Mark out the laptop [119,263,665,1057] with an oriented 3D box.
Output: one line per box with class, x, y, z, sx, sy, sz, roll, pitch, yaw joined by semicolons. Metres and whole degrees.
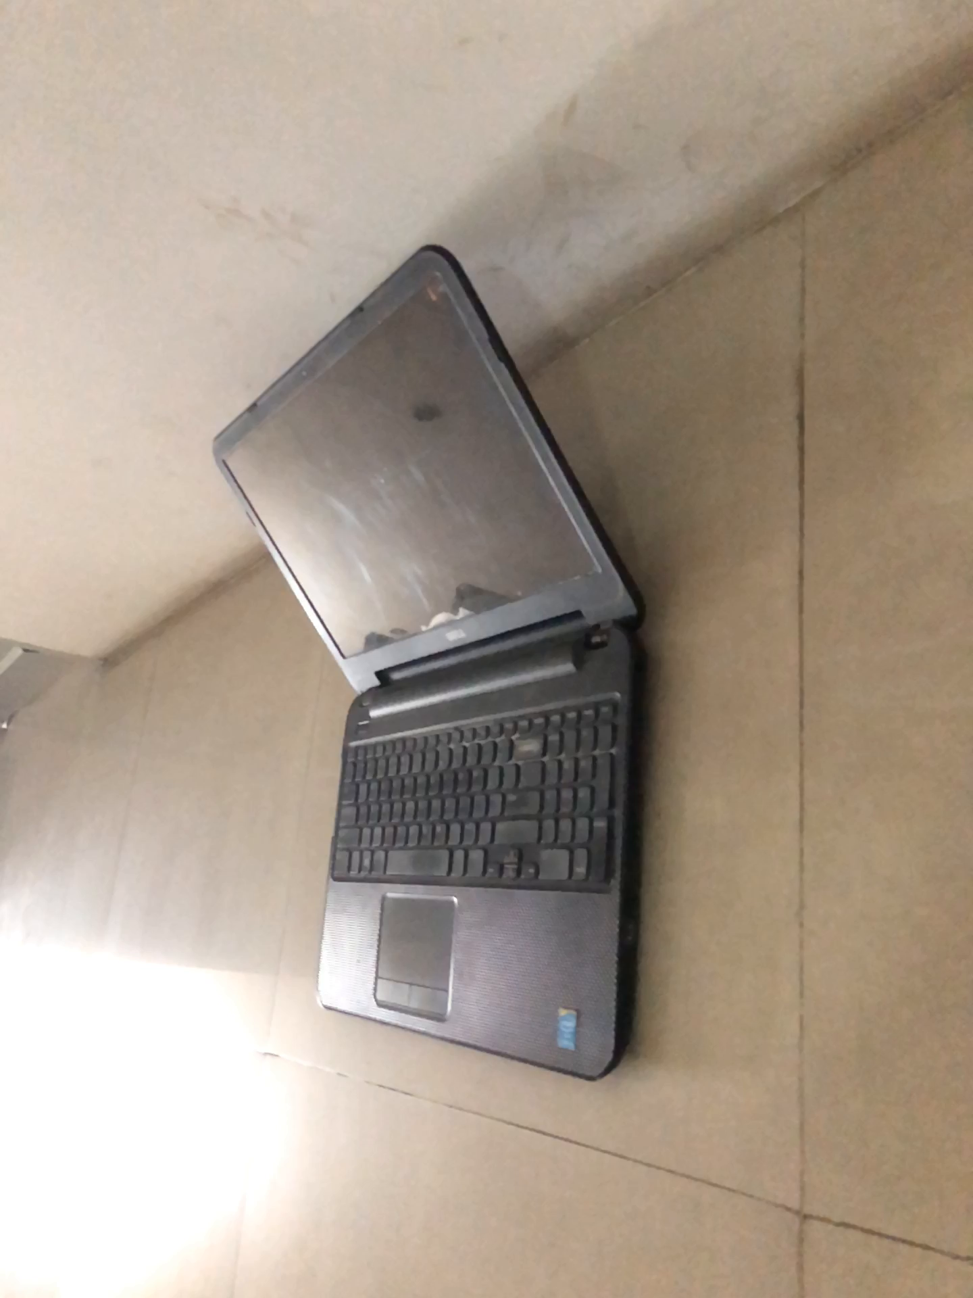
laptop;-0.070;0.026;0.704;0.323;0.165;0.409;-17;62;53
